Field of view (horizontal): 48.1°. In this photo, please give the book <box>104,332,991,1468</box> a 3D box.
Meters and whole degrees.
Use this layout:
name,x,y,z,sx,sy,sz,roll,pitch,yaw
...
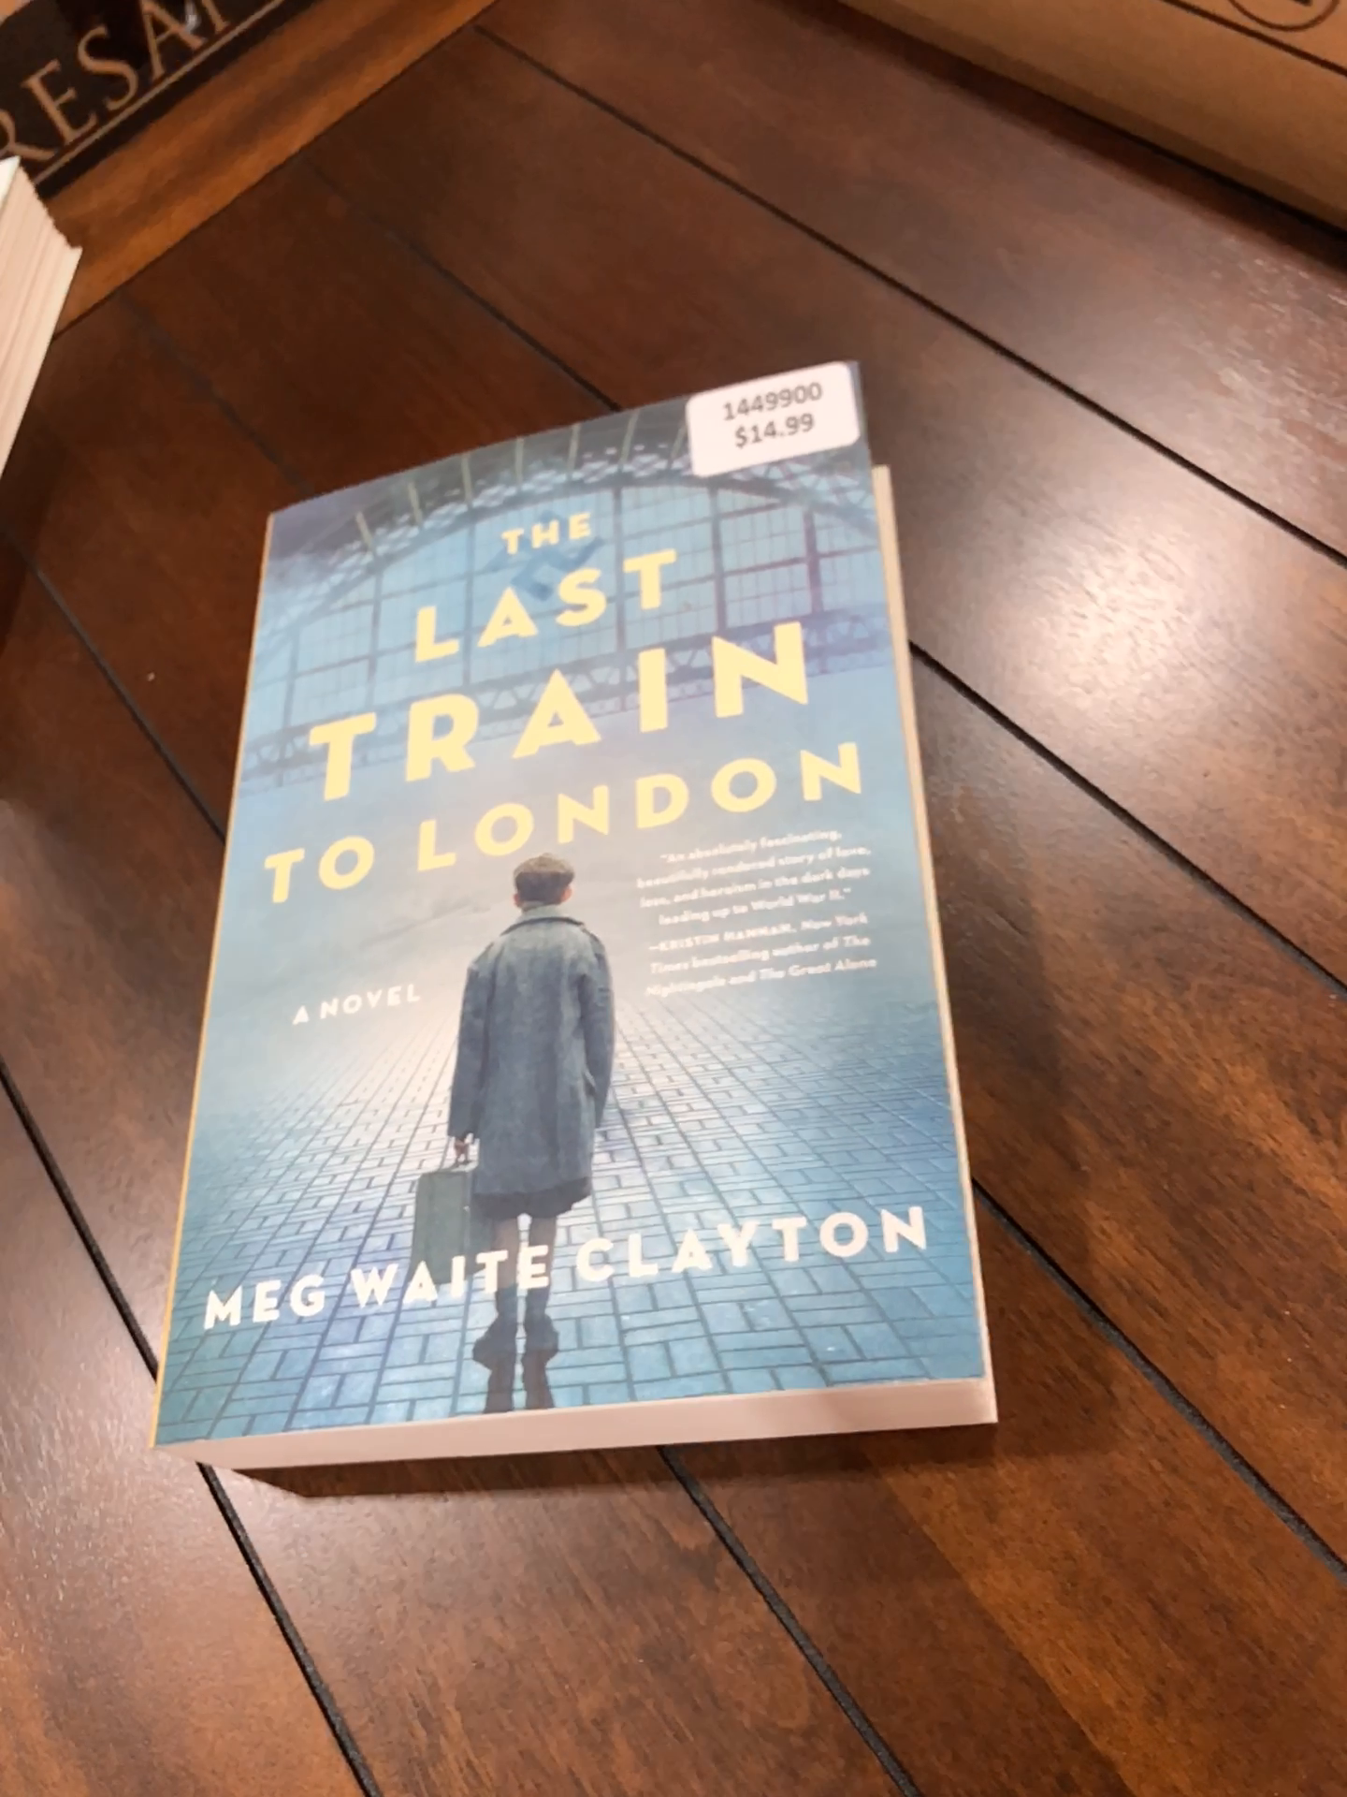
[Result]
name,x,y,z,sx,sy,sz,roll,pitch,yaw
book,-0.025,-0.004,0.315,0.151,0.041,0.220,-9,62,16
